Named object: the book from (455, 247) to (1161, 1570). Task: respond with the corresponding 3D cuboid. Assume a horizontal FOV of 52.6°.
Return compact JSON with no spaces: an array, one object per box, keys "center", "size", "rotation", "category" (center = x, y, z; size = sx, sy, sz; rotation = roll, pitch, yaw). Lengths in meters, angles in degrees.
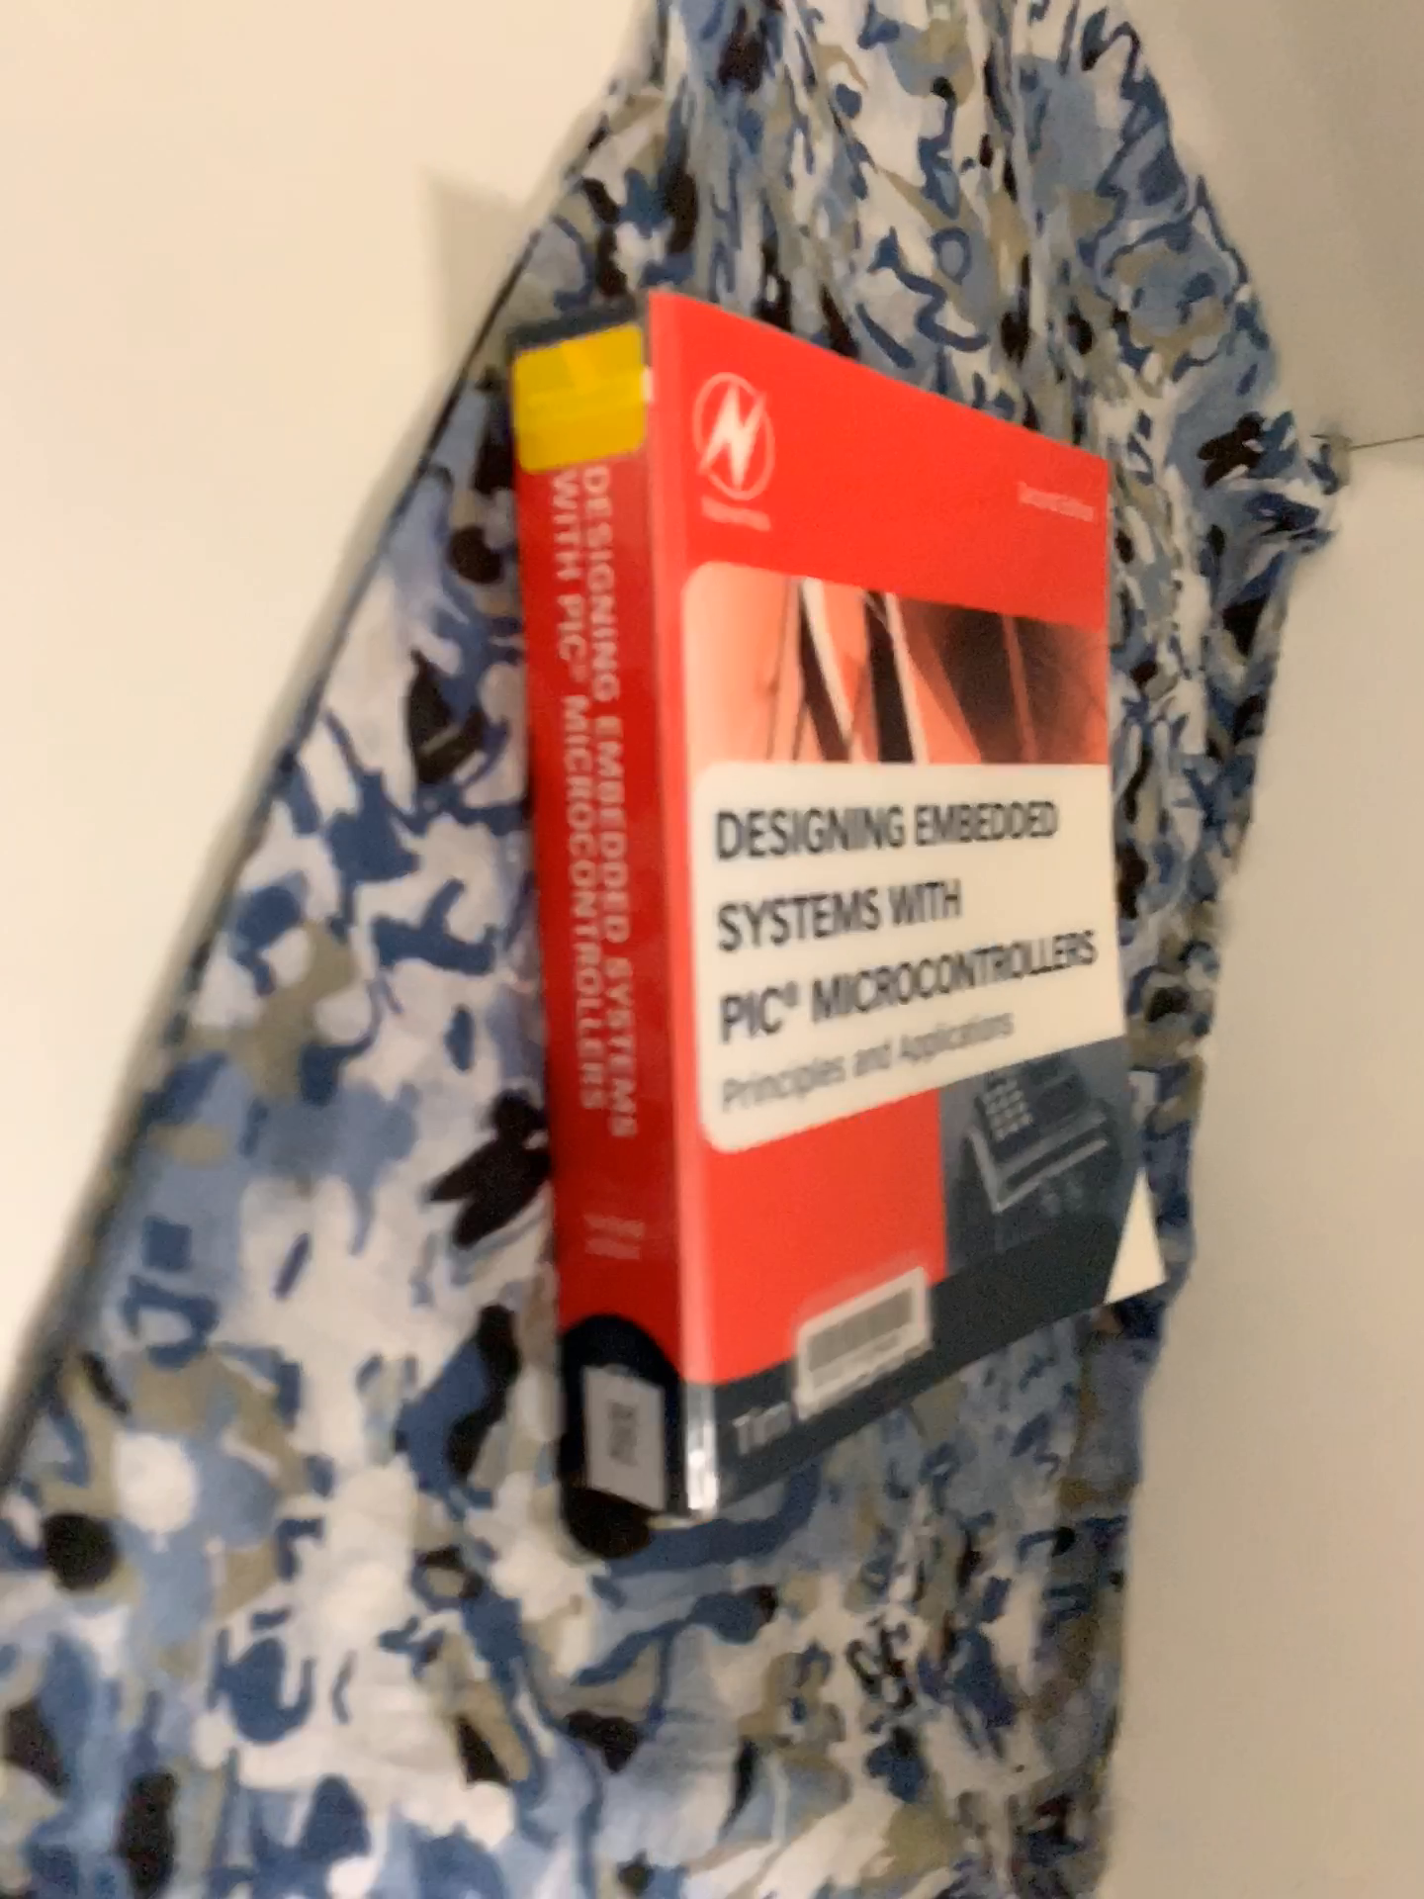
[{"center":[0.042,-0.014,0.354],"size":[0.211,0.050,0.237],"rotation":[-9,98,-50],"category":"book"}]
